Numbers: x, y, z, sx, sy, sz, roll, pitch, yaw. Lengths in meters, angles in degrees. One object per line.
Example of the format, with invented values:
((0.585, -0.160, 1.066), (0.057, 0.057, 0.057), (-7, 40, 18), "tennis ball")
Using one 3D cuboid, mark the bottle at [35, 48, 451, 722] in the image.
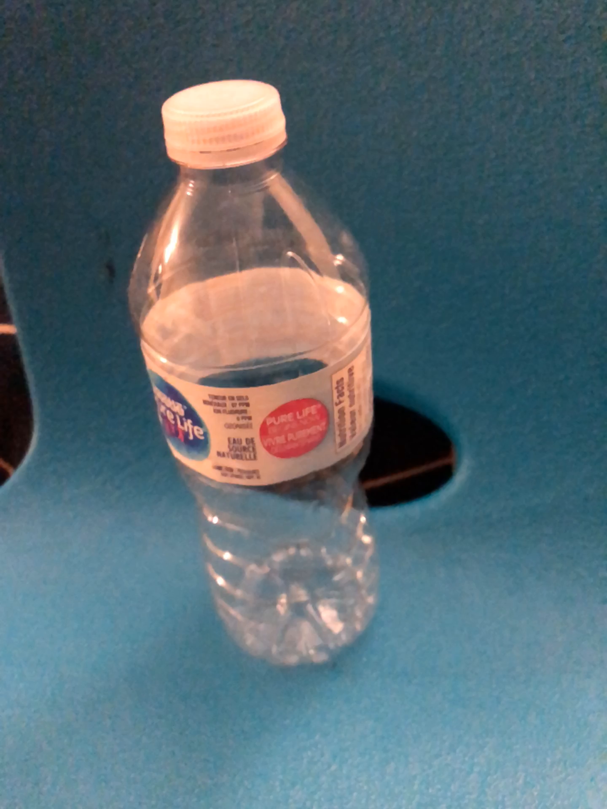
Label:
((-0.010, 0.001, 0.215), (0.070, 0.189, 0.070), (-3, 35, 2), "bottle")
